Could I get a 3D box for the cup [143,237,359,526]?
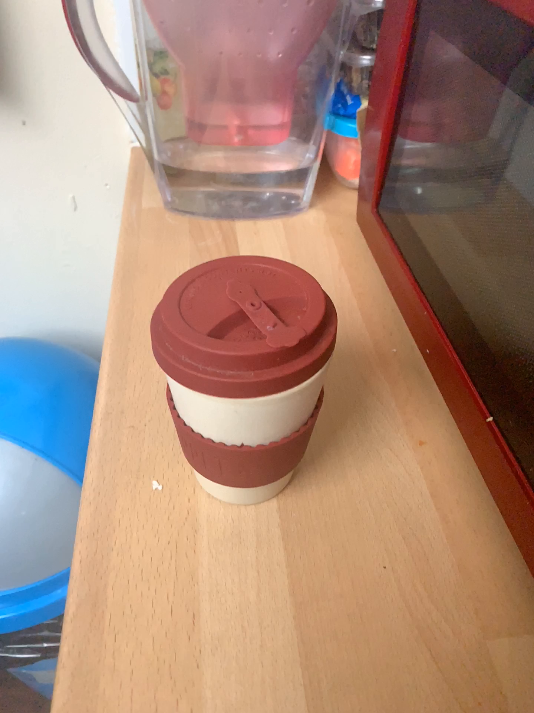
[{"bbox_3d":[-0.014,0.014,0.290,0.086,0.115,0.088,1,44,-1],"label":"cup"}]
